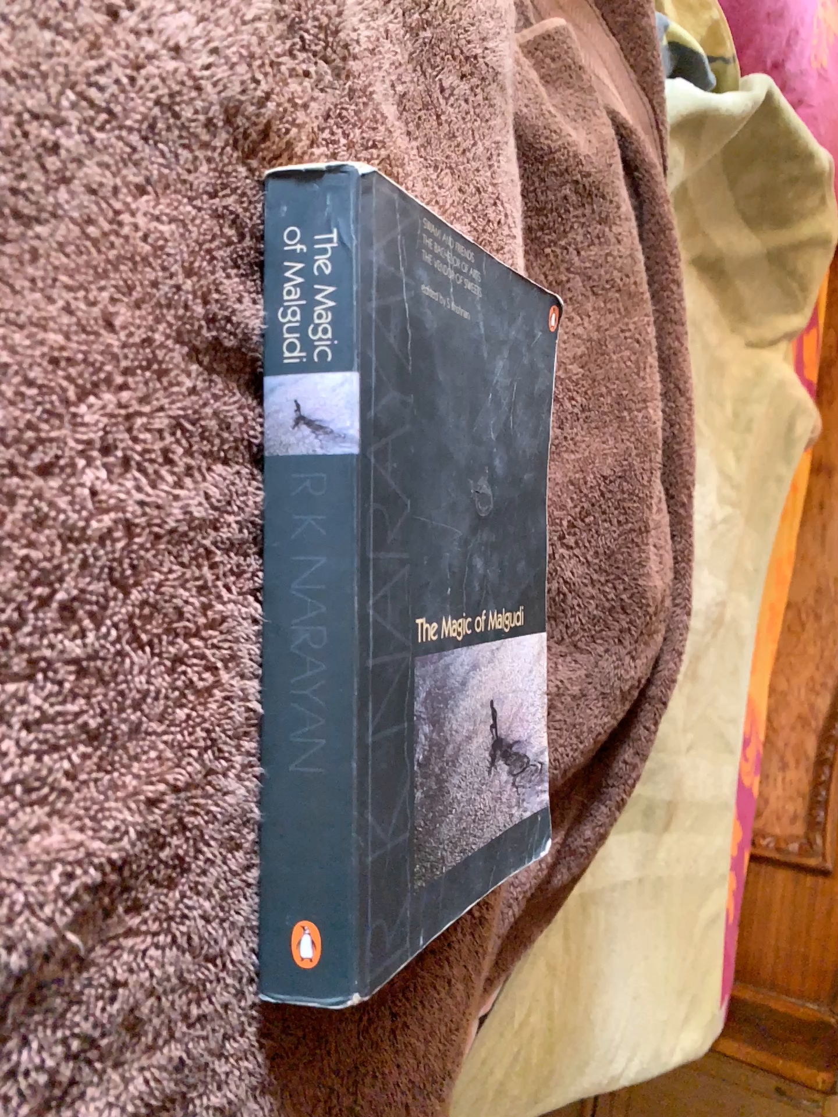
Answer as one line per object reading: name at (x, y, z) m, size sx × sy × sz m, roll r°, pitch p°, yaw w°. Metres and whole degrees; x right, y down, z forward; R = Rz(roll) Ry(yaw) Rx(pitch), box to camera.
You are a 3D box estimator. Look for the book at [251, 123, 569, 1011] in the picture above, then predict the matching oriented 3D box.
book at (0.008, 0.002, 0.259) m, size 0.142 × 0.030 × 0.193 m, roll 1°, pitch 90°, yaw -62°
